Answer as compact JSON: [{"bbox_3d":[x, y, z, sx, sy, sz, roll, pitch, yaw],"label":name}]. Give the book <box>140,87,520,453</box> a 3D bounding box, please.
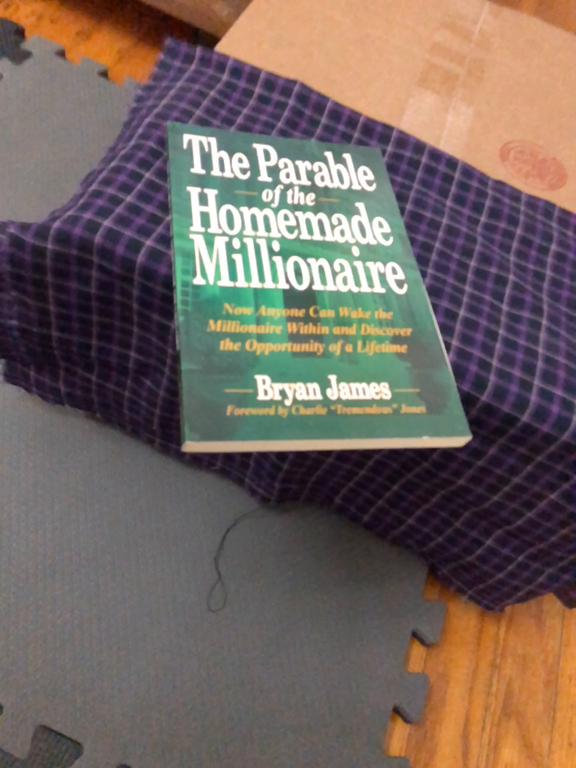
[{"bbox_3d":[0.009,-0.067,0.322,0.160,0.020,0.211,0,58,-15],"label":"book"}]
